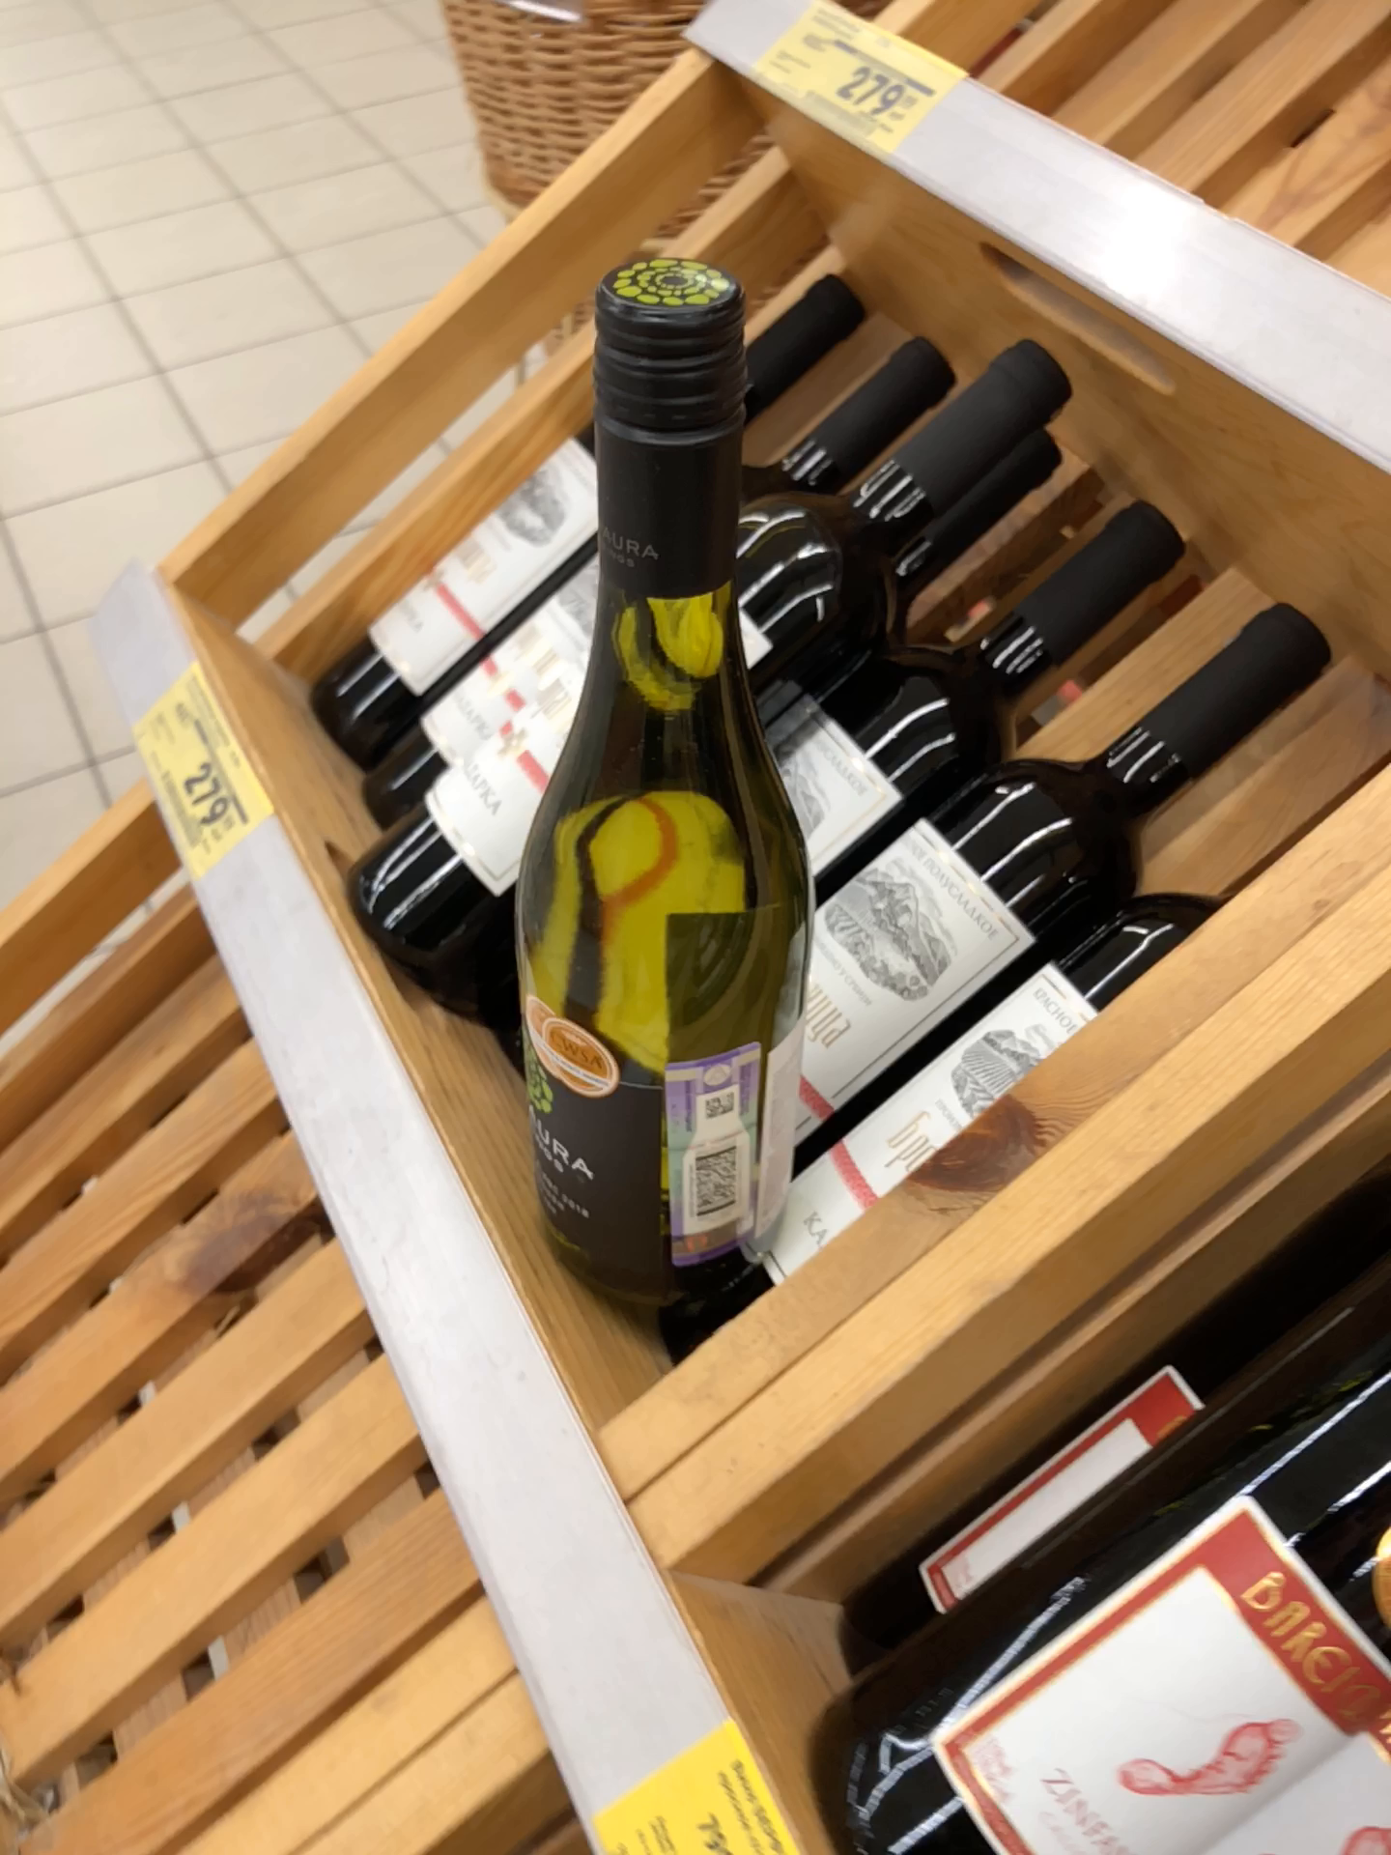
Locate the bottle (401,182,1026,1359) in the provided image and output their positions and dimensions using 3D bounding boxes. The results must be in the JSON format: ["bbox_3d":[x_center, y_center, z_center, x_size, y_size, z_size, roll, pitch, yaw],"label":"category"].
[{"bbox_3d":[-0.003,-0.018,0.394,0.090,0.288,0.090,1,44,-1],"label":"bottle"}]
